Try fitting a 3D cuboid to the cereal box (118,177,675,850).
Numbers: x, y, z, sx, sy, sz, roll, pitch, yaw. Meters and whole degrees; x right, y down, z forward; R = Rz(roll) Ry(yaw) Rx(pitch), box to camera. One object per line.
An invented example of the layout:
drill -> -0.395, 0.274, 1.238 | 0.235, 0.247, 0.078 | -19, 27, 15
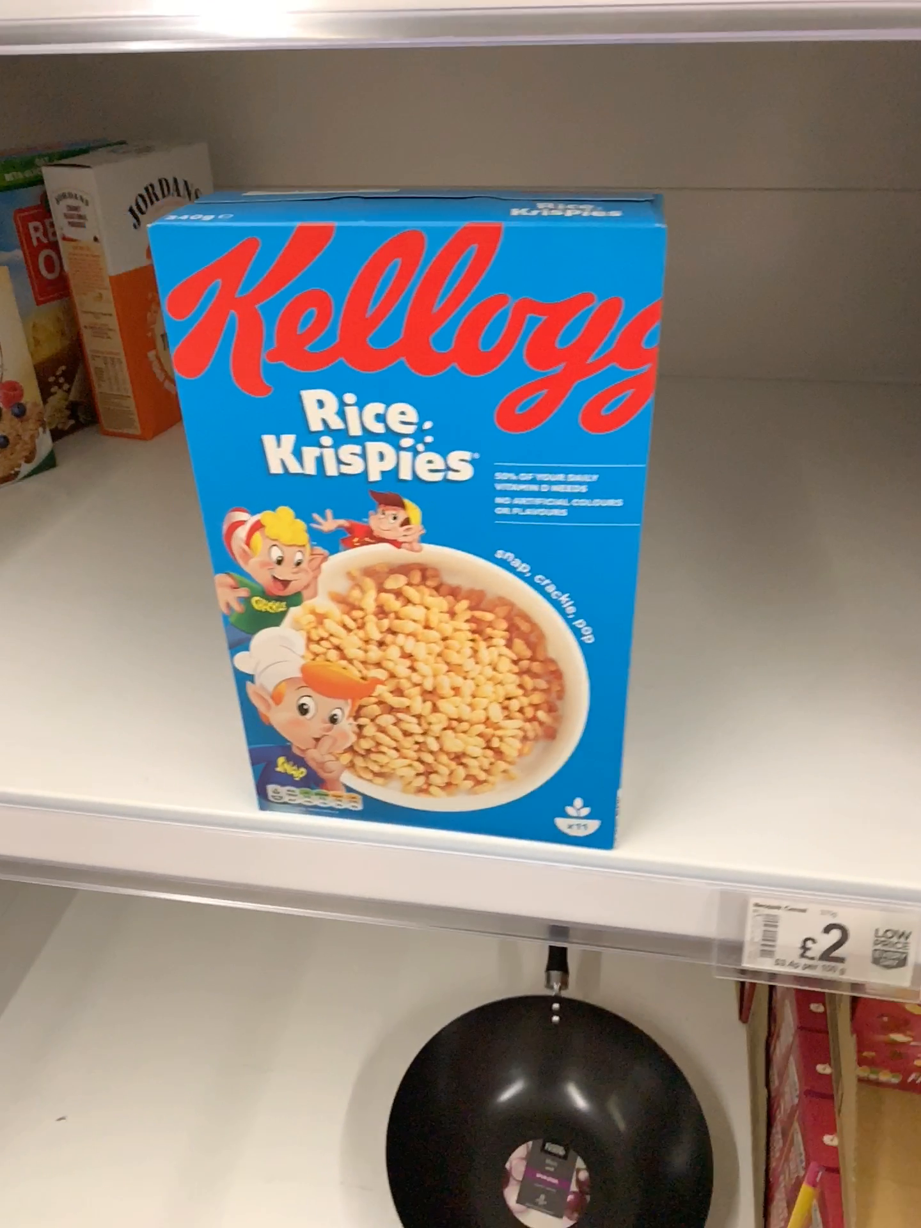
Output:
cereal box -> -0.018, -0.035, 0.439 | 0.200, 0.297, 0.071 | 4, 33, 9
